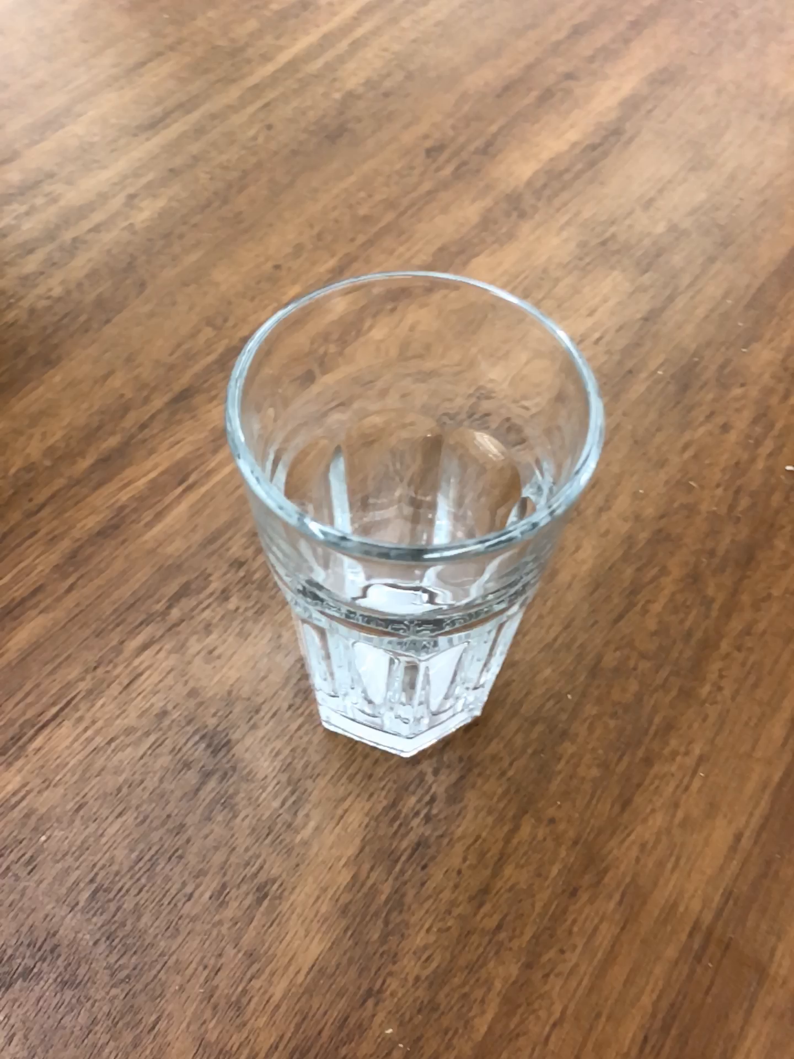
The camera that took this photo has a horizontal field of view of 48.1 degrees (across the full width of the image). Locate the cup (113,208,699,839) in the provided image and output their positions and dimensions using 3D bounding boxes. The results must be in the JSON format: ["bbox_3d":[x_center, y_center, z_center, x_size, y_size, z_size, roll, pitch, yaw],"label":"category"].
[{"bbox_3d":[0.001,0.003,0.192,0.072,0.095,0.070,1,57,-1],"label":"cup"}]
